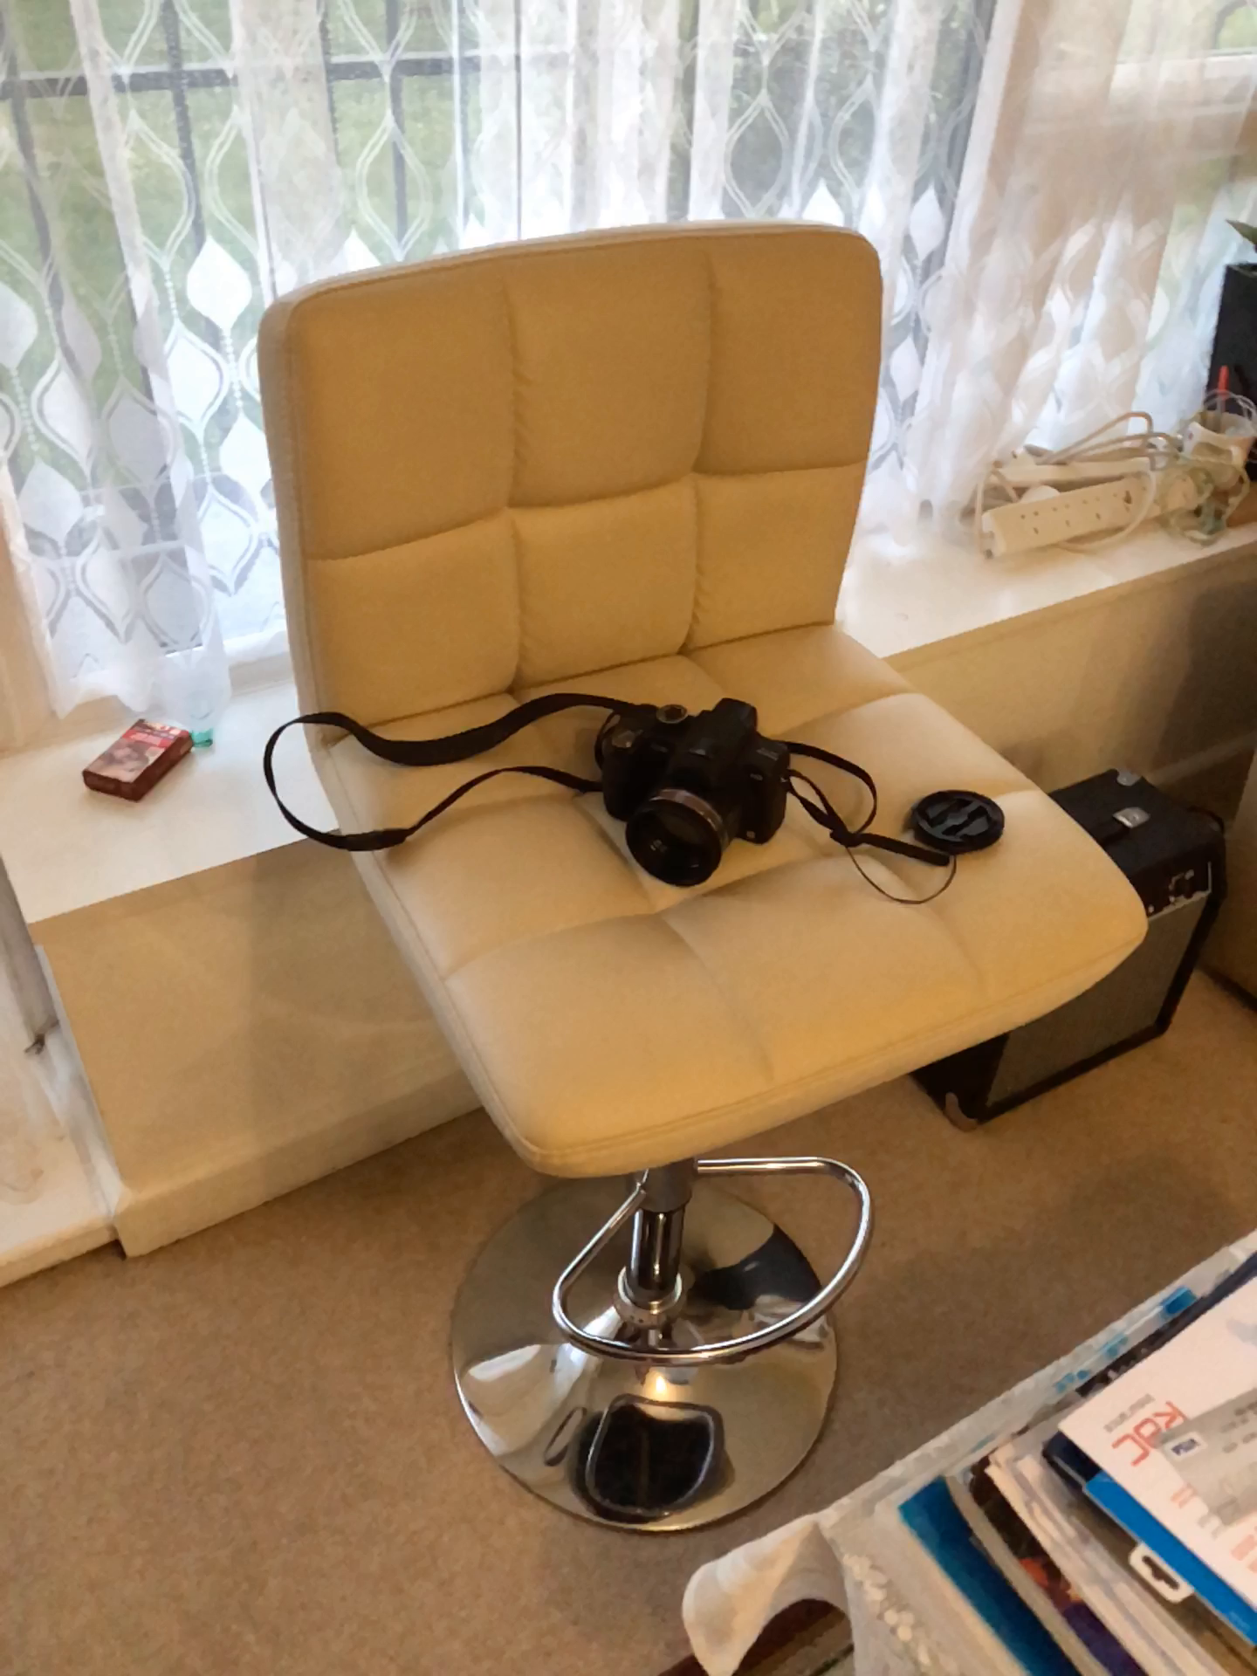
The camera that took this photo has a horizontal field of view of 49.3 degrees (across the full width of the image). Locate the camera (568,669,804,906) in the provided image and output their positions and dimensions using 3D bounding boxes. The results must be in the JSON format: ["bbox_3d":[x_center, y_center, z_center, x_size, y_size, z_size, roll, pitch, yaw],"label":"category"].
[{"bbox_3d":[0.034,-0.033,0.823,0.111,0.076,0.098,16,42,14],"label":"camera"}]
